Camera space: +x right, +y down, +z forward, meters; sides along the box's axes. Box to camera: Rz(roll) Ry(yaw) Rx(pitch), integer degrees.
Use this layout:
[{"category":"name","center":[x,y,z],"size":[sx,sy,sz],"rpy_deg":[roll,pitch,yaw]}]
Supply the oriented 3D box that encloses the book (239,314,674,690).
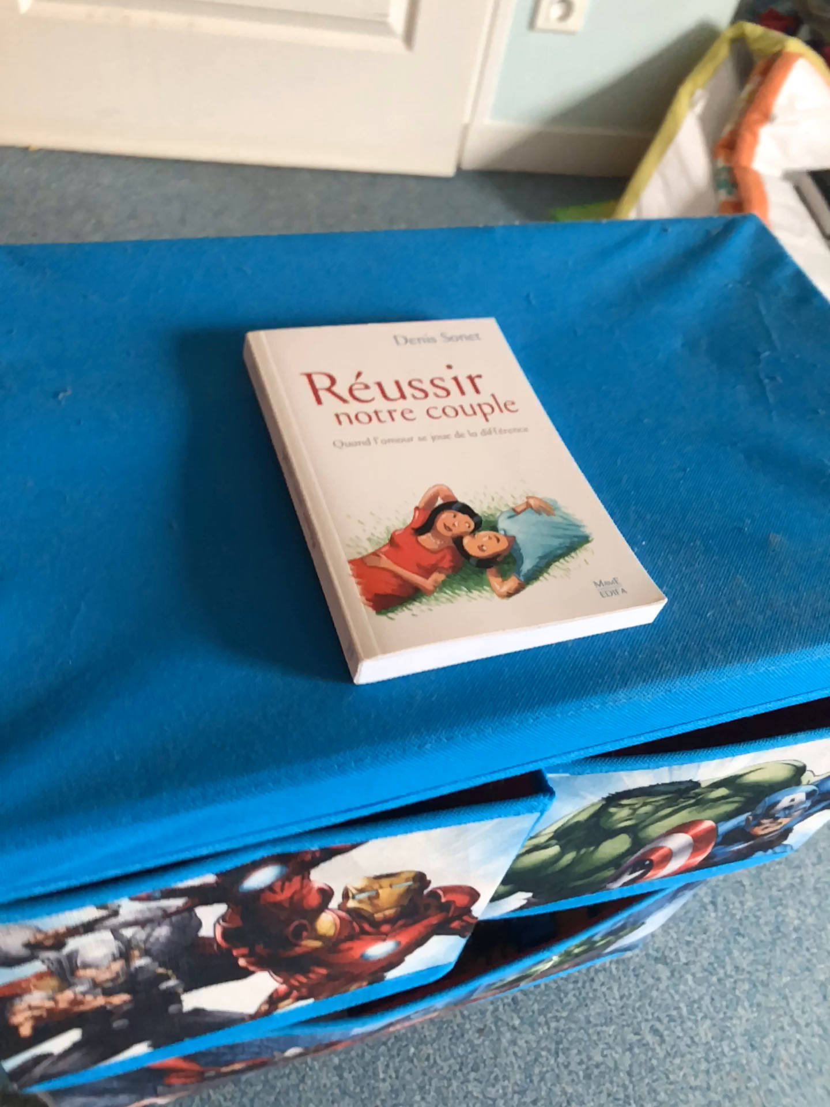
[{"category":"book","center":[0.010,-0.037,0.401],"size":[0.135,0.016,0.186],"rpy_deg":[-8,54,-20]}]
